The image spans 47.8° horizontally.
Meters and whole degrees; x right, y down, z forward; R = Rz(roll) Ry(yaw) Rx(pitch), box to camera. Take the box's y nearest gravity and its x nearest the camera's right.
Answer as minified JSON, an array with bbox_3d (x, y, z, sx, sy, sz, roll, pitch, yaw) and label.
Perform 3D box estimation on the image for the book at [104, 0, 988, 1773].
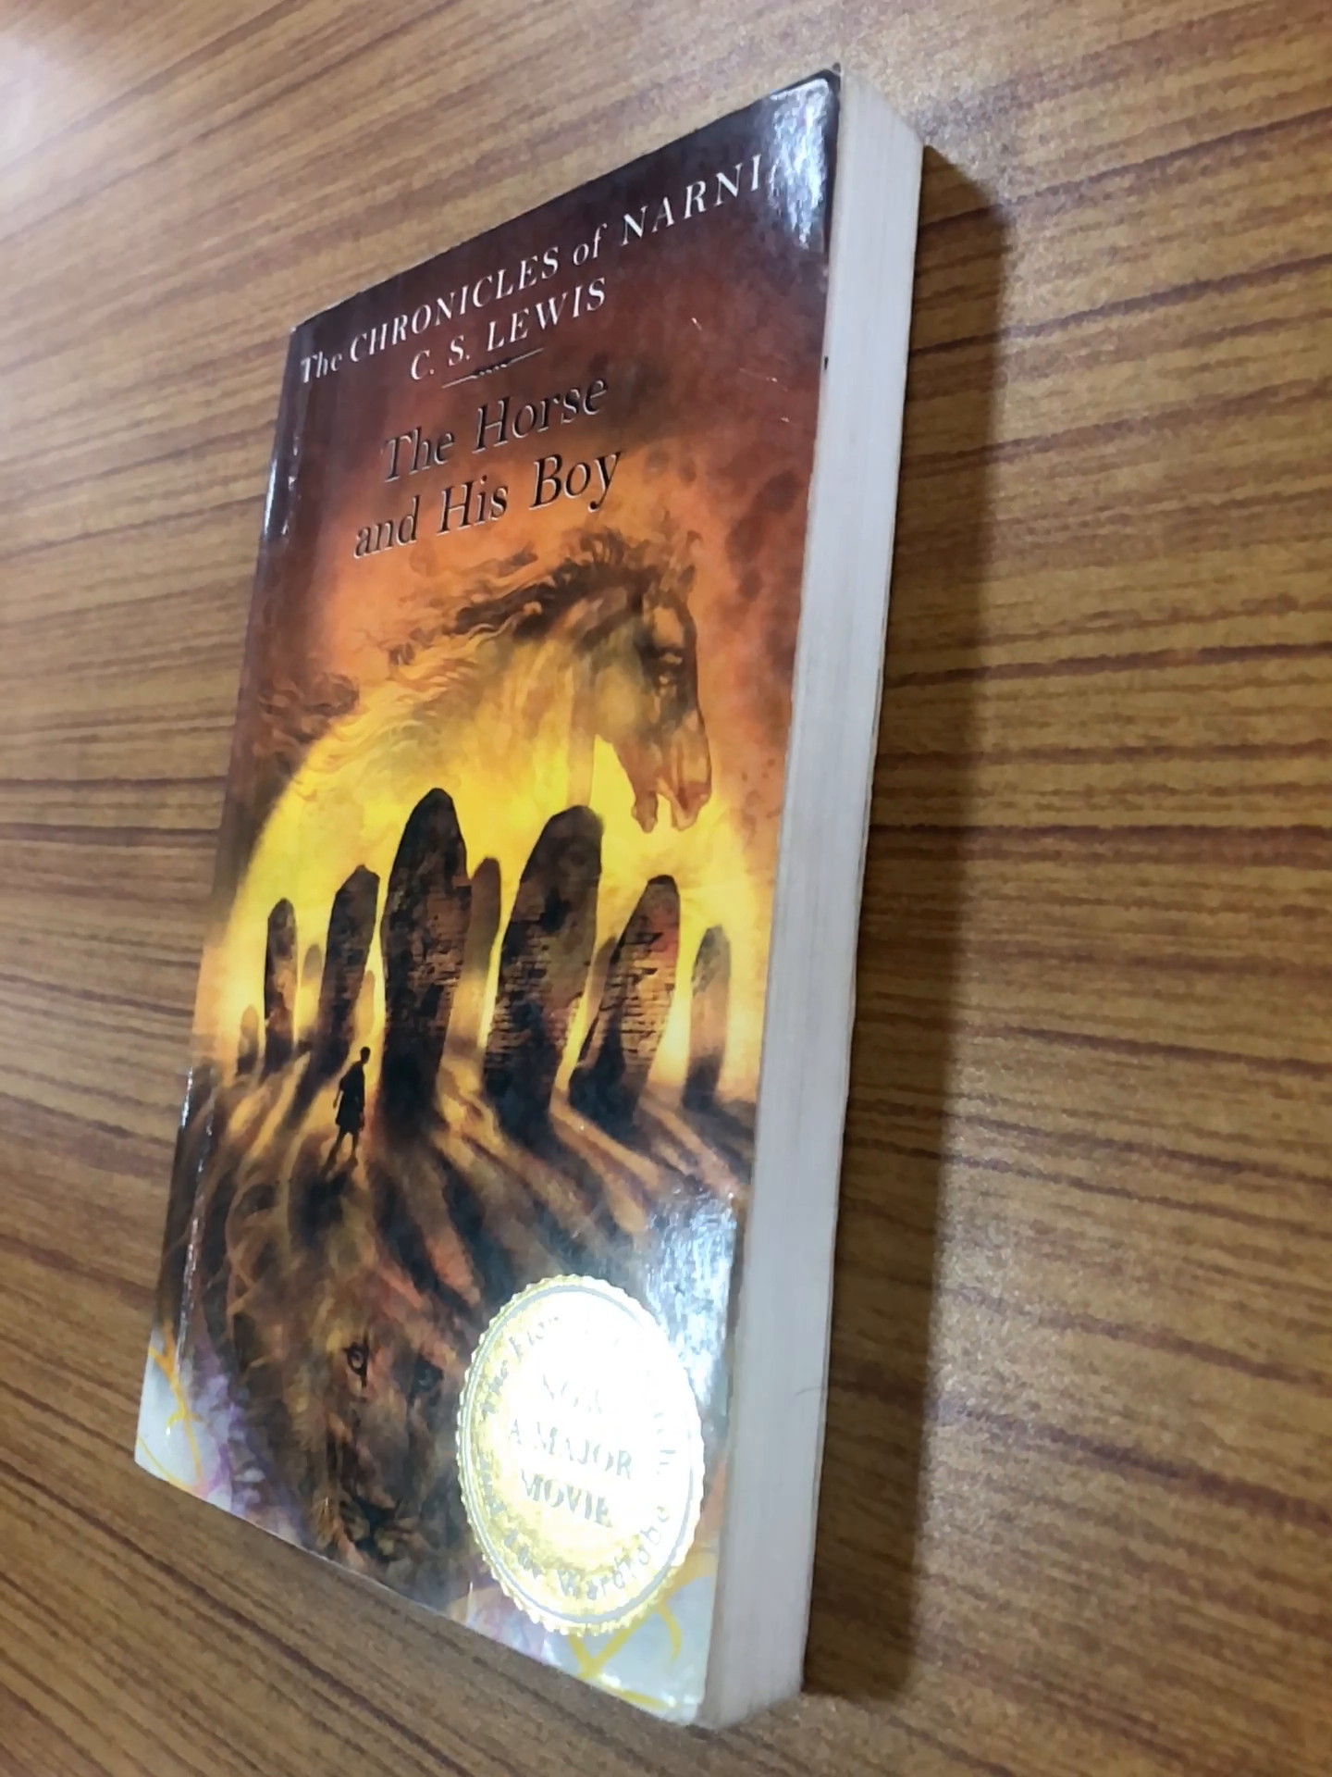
[{"bbox_3d":[-0.022,-0.005,0.197,0.121,0.020,0.180,-1,80,42],"label":"book"}]
